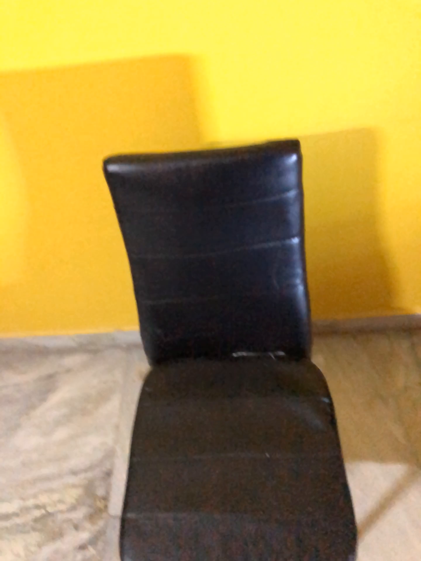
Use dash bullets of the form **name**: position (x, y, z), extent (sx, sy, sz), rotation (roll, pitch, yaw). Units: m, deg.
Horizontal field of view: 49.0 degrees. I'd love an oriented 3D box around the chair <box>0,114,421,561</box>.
- **chair**: position (0.049, 0.266, 0.858), extent (0.480, 0.906, 0.533), rotation (-3, 55, 7)
